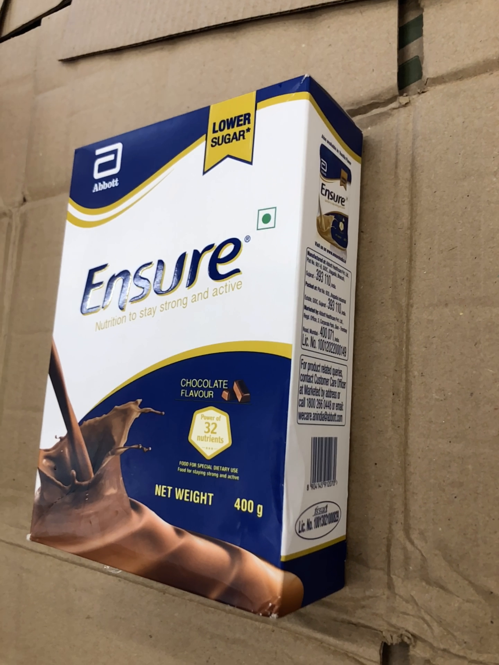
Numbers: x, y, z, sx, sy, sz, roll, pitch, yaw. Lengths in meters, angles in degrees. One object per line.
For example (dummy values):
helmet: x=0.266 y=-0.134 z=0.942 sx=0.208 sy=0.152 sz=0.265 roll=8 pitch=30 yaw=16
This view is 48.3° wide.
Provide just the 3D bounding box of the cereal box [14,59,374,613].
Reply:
cereal box: x=-0.026 y=0.000 z=0.239 sx=0.140 sy=0.050 sz=0.180 roll=-2 pitch=80 yaw=35
